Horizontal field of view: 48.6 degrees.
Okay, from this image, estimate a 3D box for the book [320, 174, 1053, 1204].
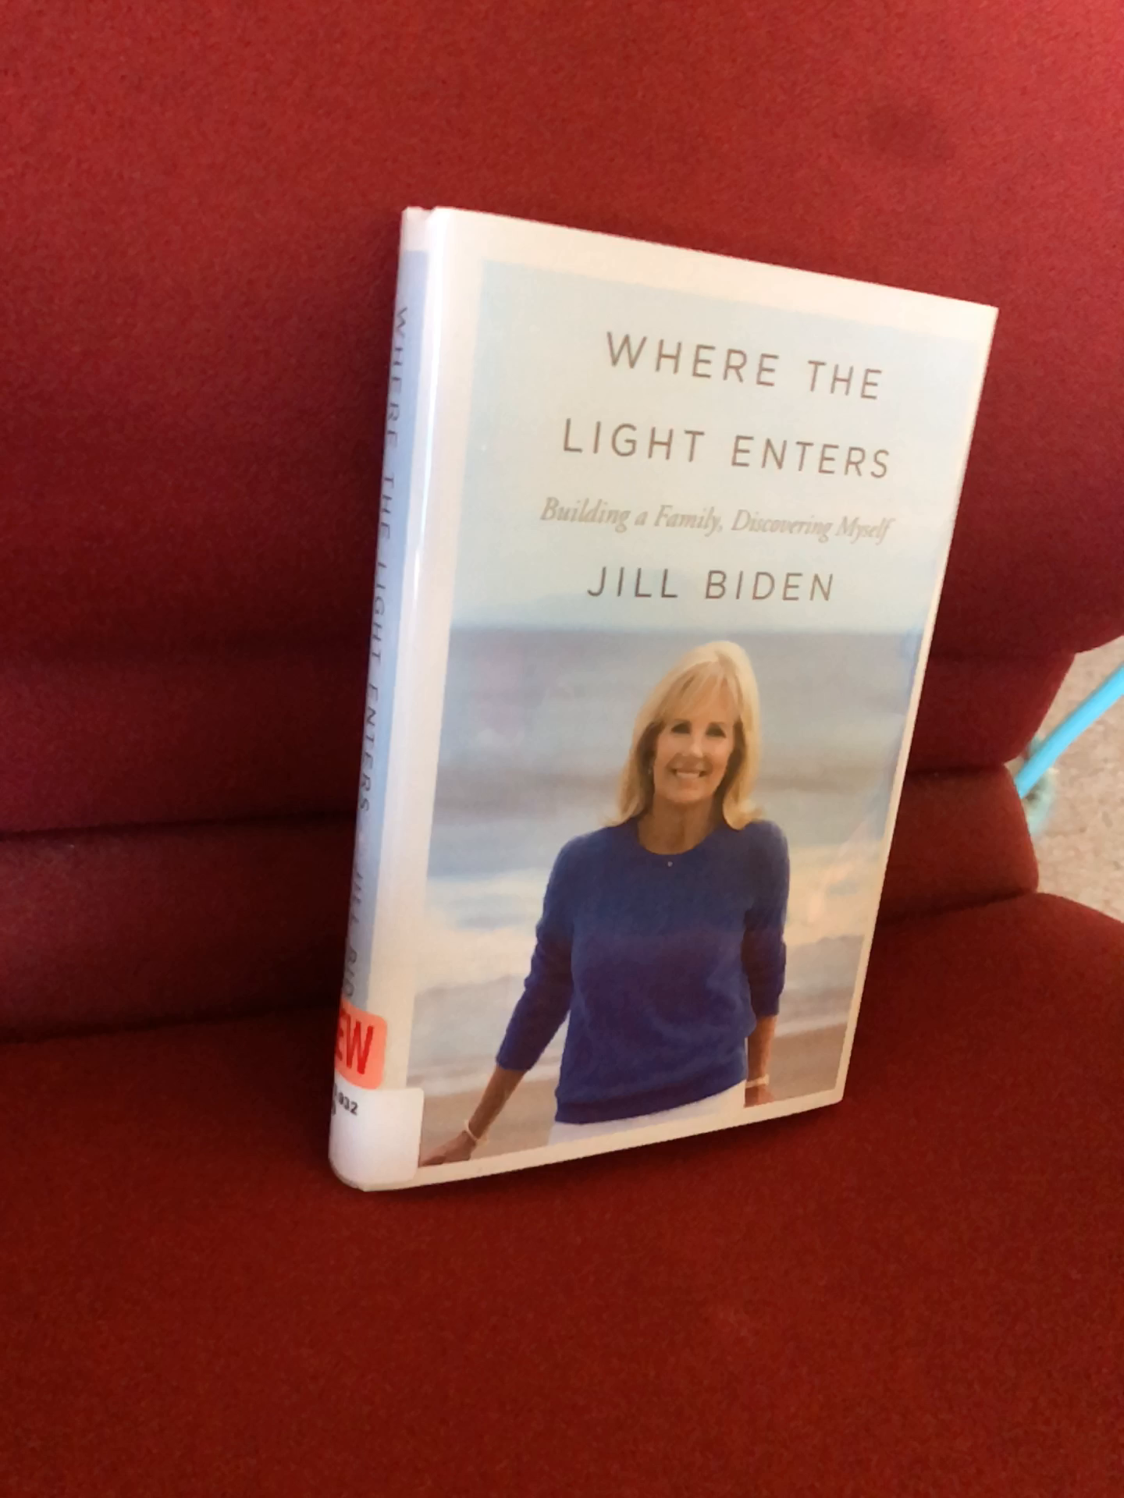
[{"bbox_3d":[0.028,-0.006,0.293,0.150,0.210,0.030,-1,17,-28],"label":"book"}]
